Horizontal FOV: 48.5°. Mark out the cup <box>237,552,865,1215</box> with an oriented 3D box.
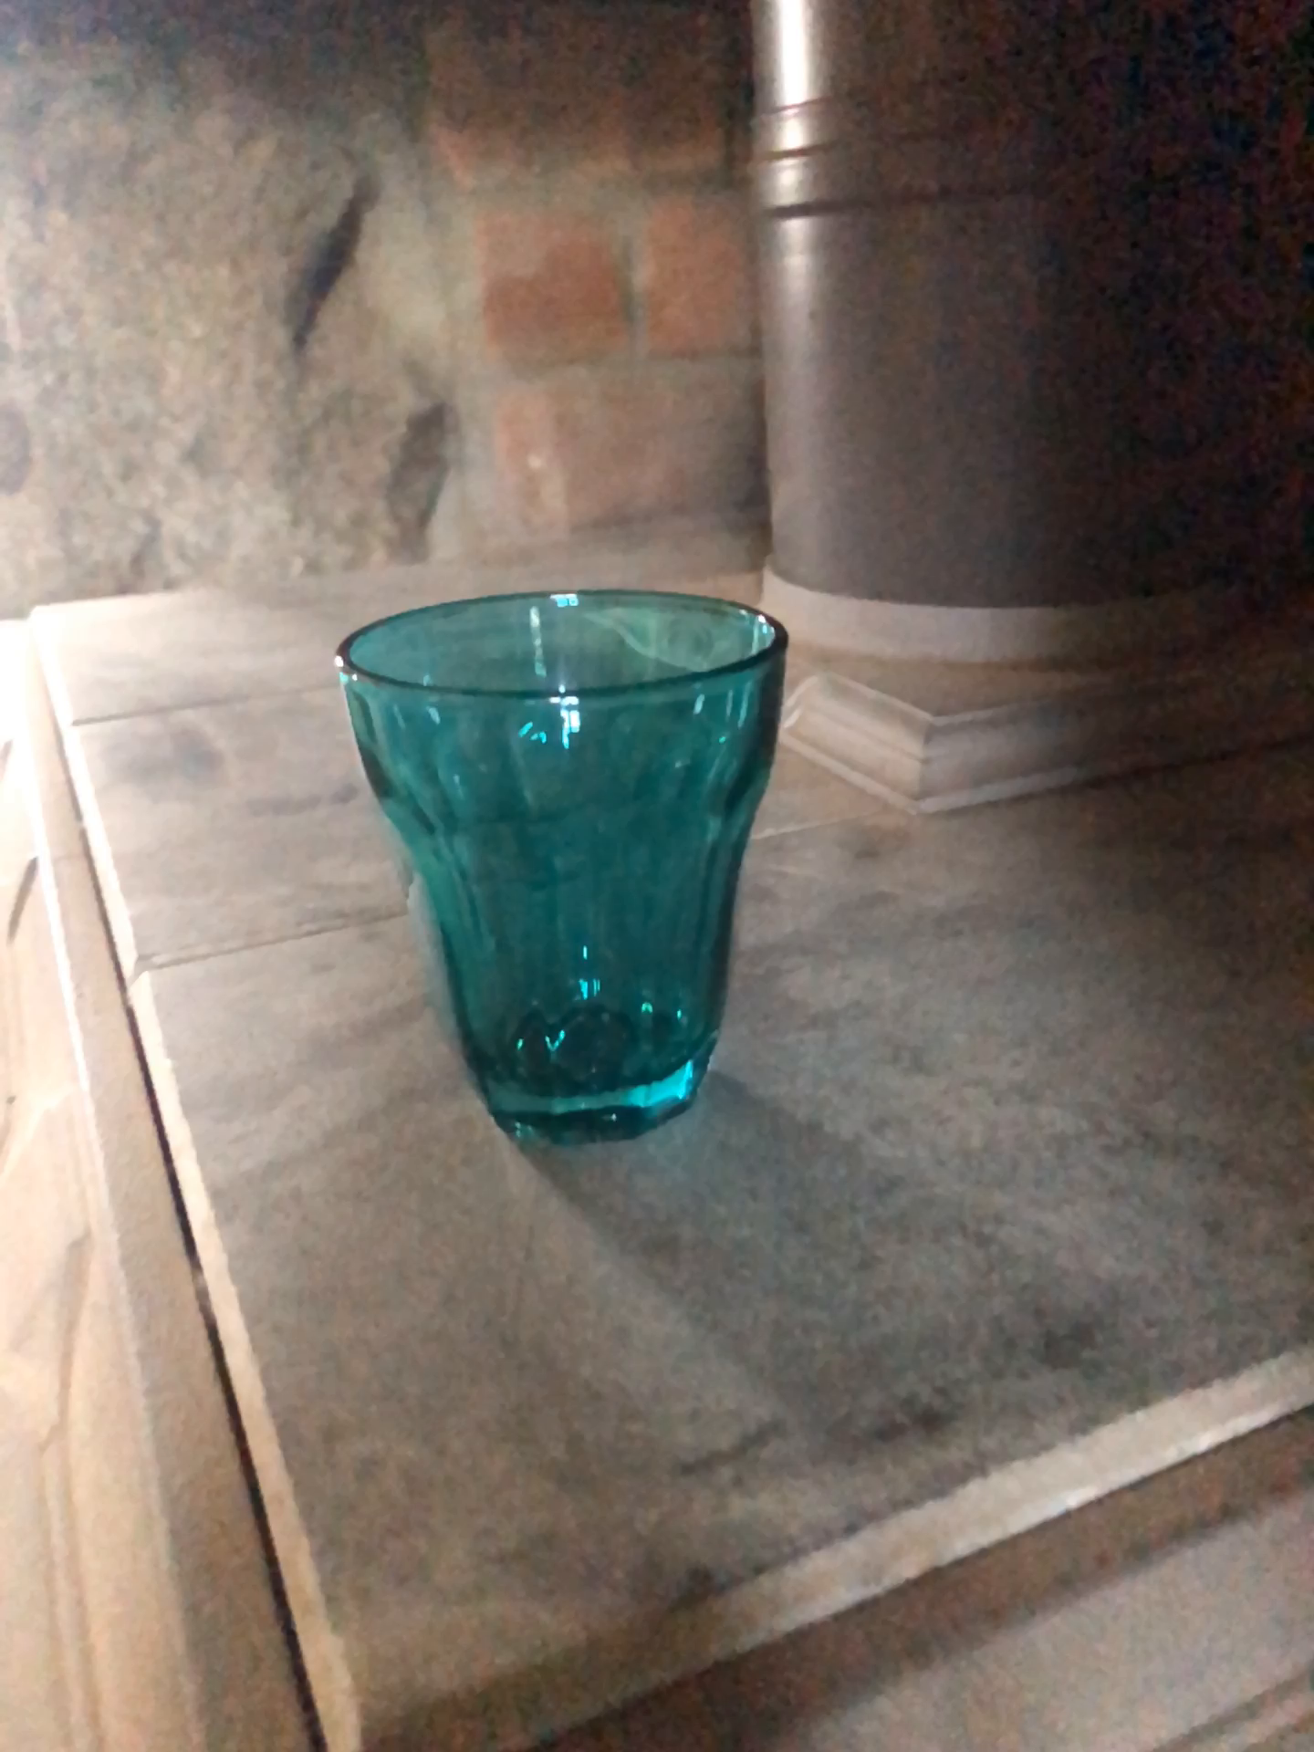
[{"bbox_3d":[-0.013,-0.006,0.243,0.070,0.080,0.070,-2,22,1],"label":"cup"}]
